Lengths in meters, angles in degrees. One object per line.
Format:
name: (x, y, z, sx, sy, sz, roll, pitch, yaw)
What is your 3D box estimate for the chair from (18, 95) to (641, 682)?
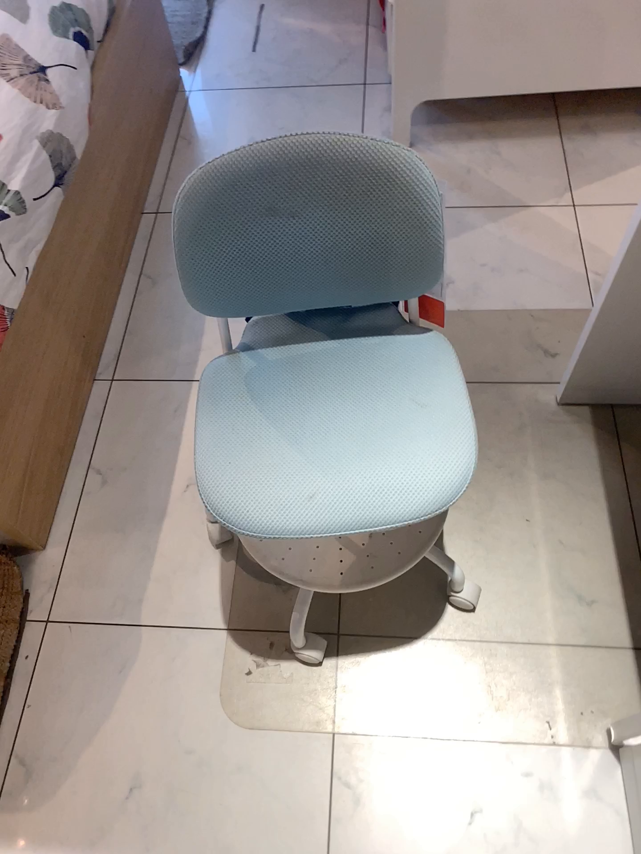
chair: (0.009, 0.005, 1.088, 0.600, 0.718, 0.621, -6, 59, 1)
